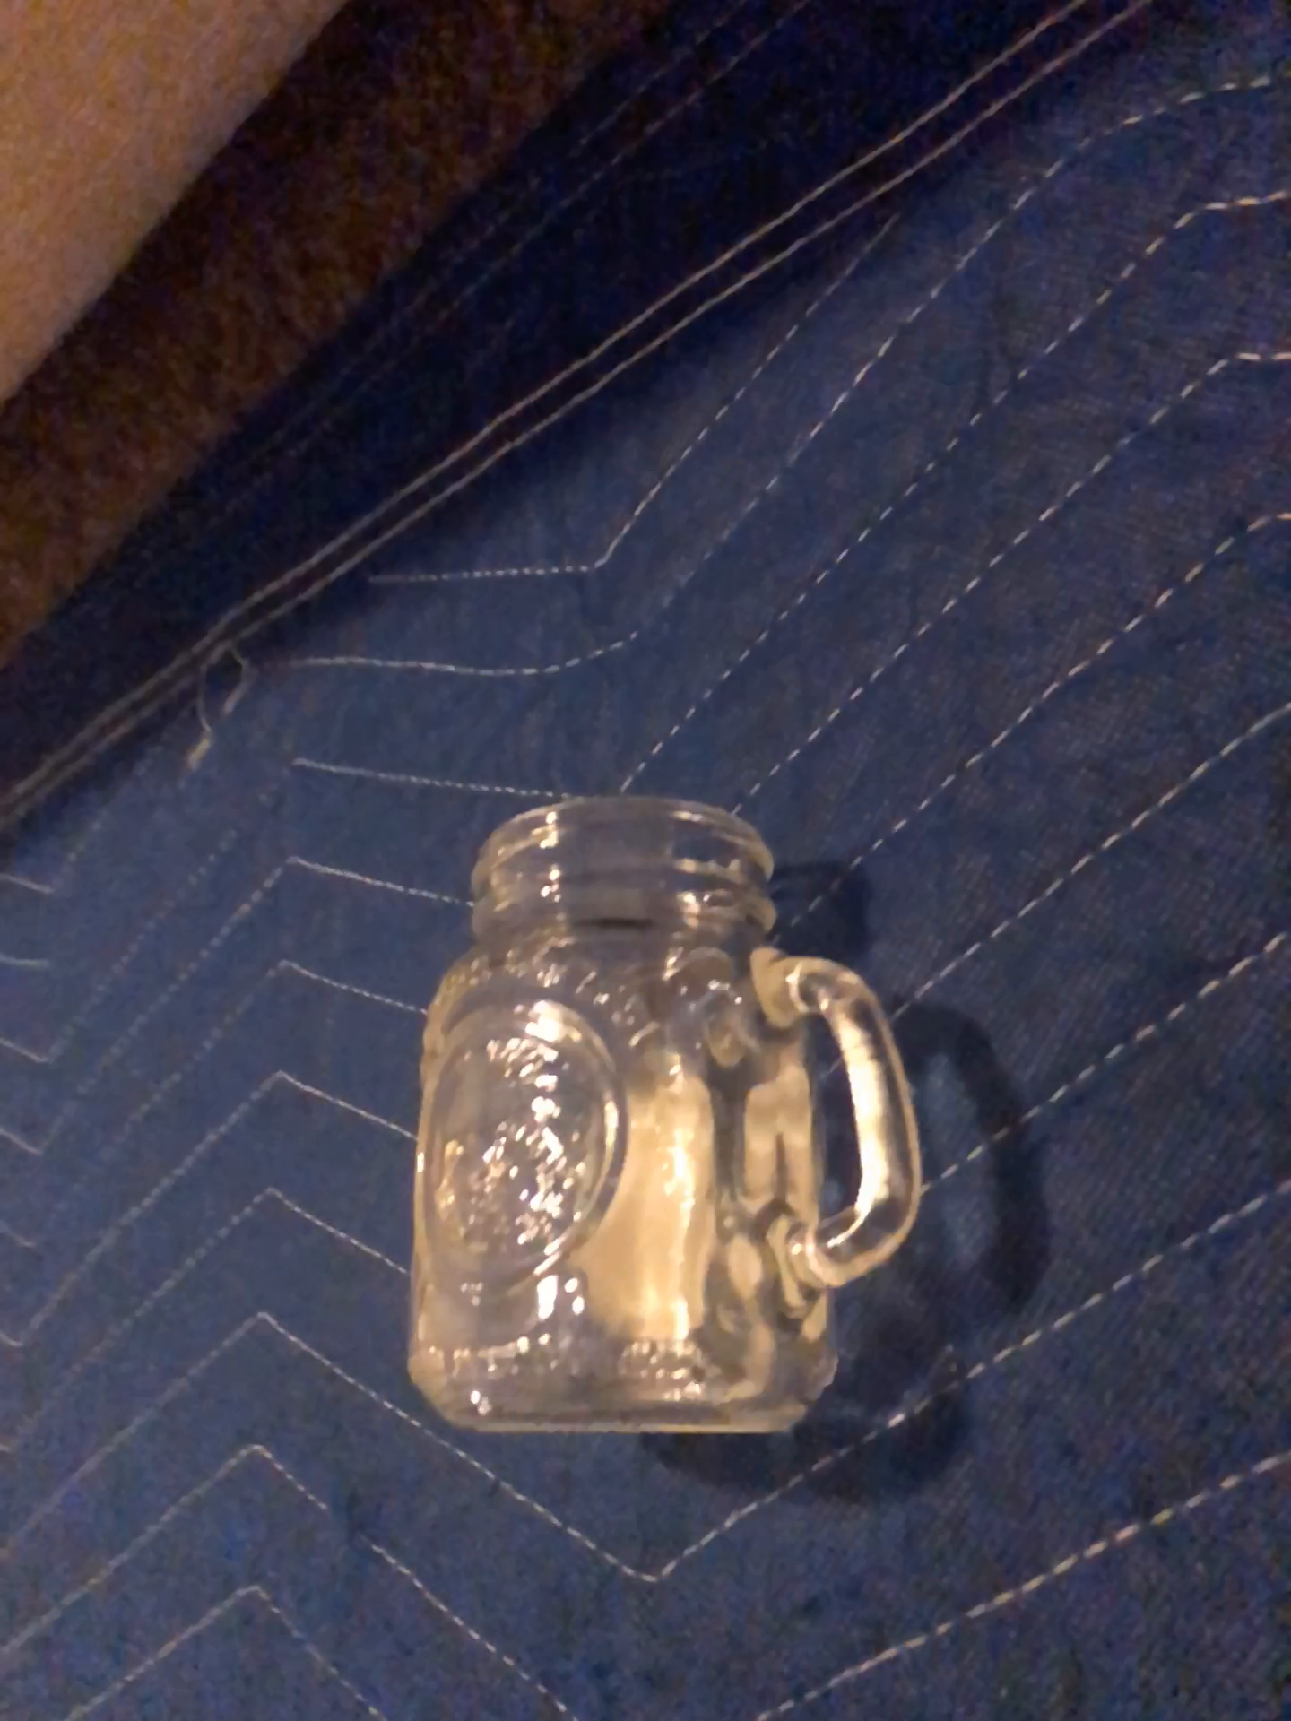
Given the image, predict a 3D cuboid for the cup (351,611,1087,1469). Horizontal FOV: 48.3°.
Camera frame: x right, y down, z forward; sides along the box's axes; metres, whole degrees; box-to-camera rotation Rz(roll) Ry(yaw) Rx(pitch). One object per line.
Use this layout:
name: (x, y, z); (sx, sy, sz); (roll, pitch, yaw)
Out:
cup: (0.002, 0.031, 0.203); (0.089, 0.043, 0.095); (-14, 70, 44)
